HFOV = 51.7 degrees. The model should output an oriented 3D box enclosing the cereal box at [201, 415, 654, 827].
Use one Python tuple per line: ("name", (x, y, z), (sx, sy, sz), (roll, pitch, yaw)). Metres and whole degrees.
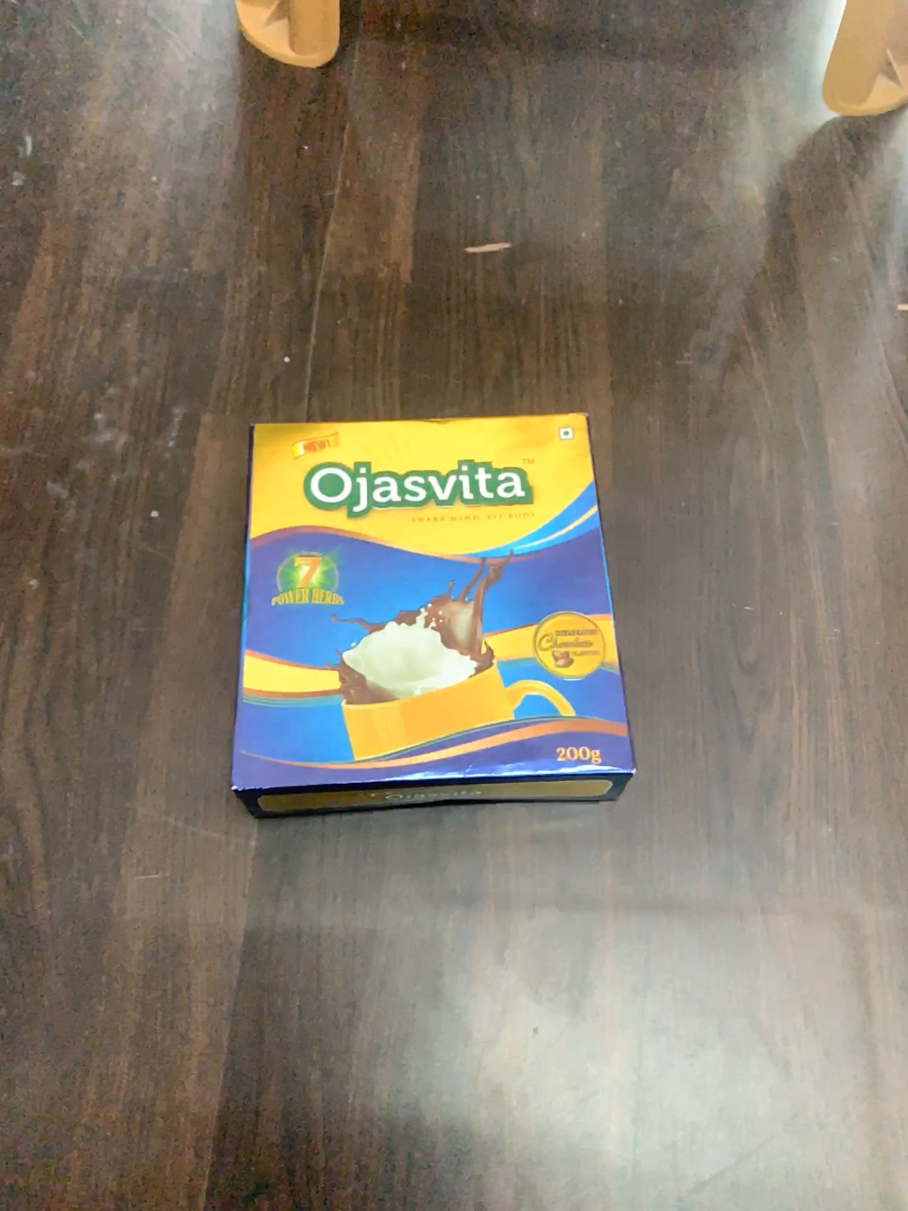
("cereal box", (-0.014, 0.001, 0.361), (0.150, 0.040, 0.150), (-2, 63, -4))
